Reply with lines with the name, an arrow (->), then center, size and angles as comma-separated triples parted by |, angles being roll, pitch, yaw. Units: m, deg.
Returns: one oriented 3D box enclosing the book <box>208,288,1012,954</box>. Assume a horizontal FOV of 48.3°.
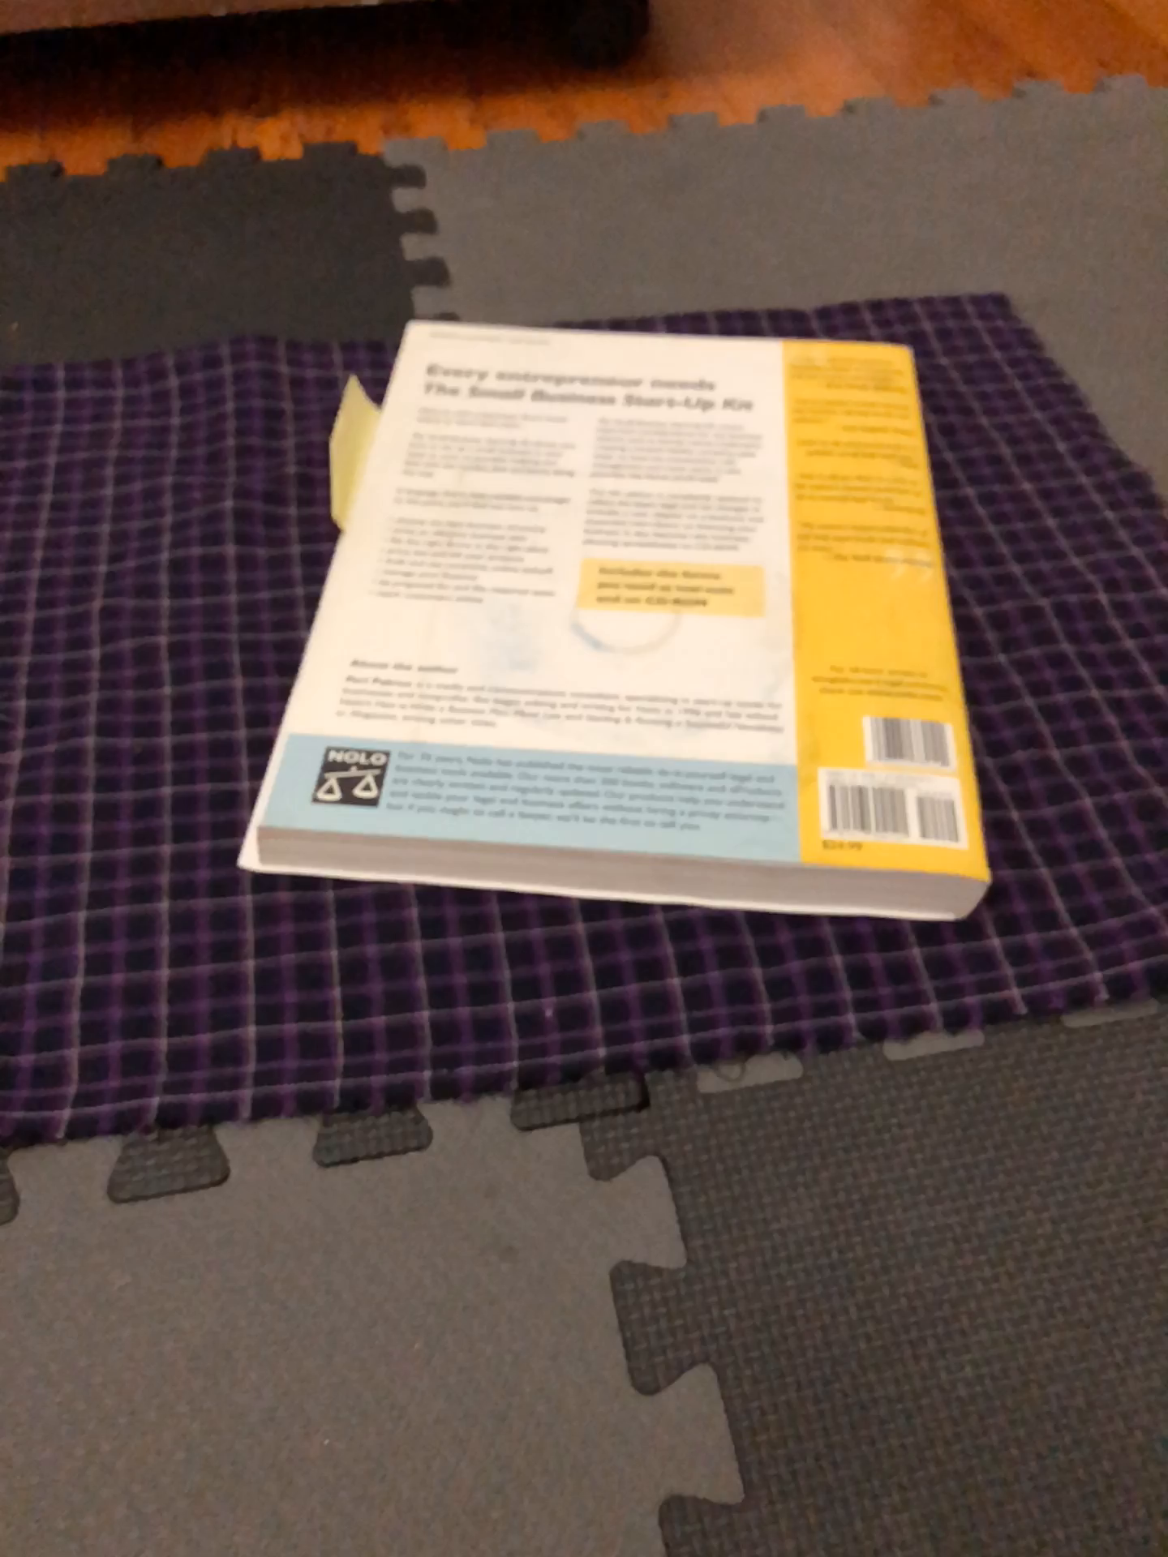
book -> 0.019, -0.083, 0.485 | 0.230, 0.030, 0.312 | 4, 49, 2
